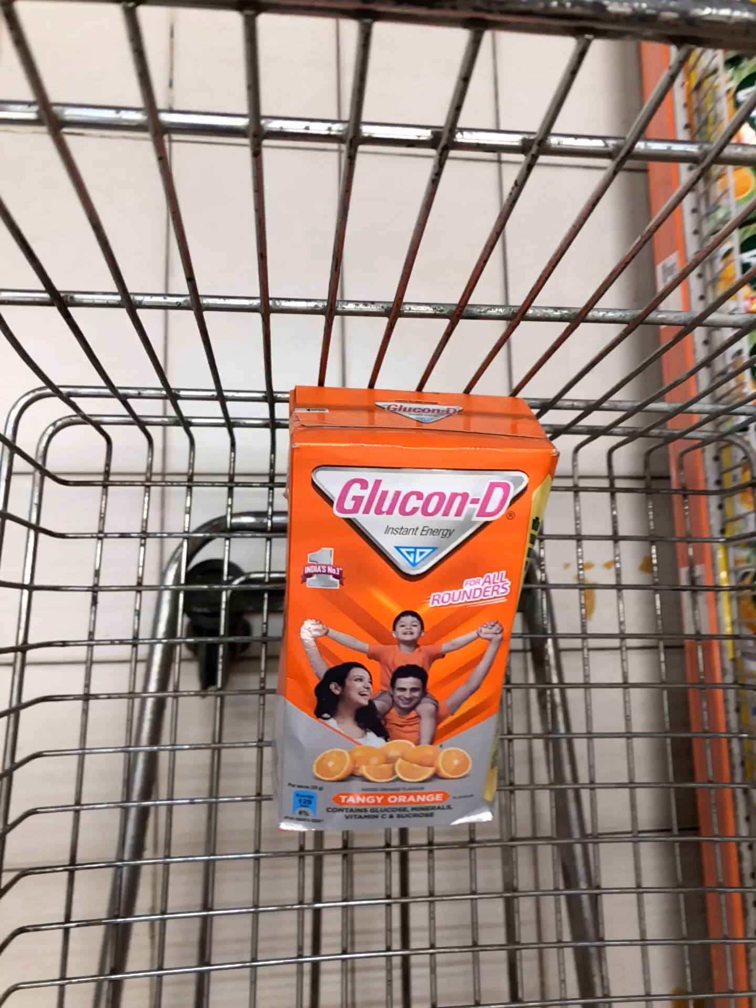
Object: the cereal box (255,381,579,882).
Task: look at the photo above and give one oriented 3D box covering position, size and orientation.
[{"bbox_3d":[0.006,0.059,0.401,0.120,0.100,0.210,2,111,-7],"label":"cereal box"}]
